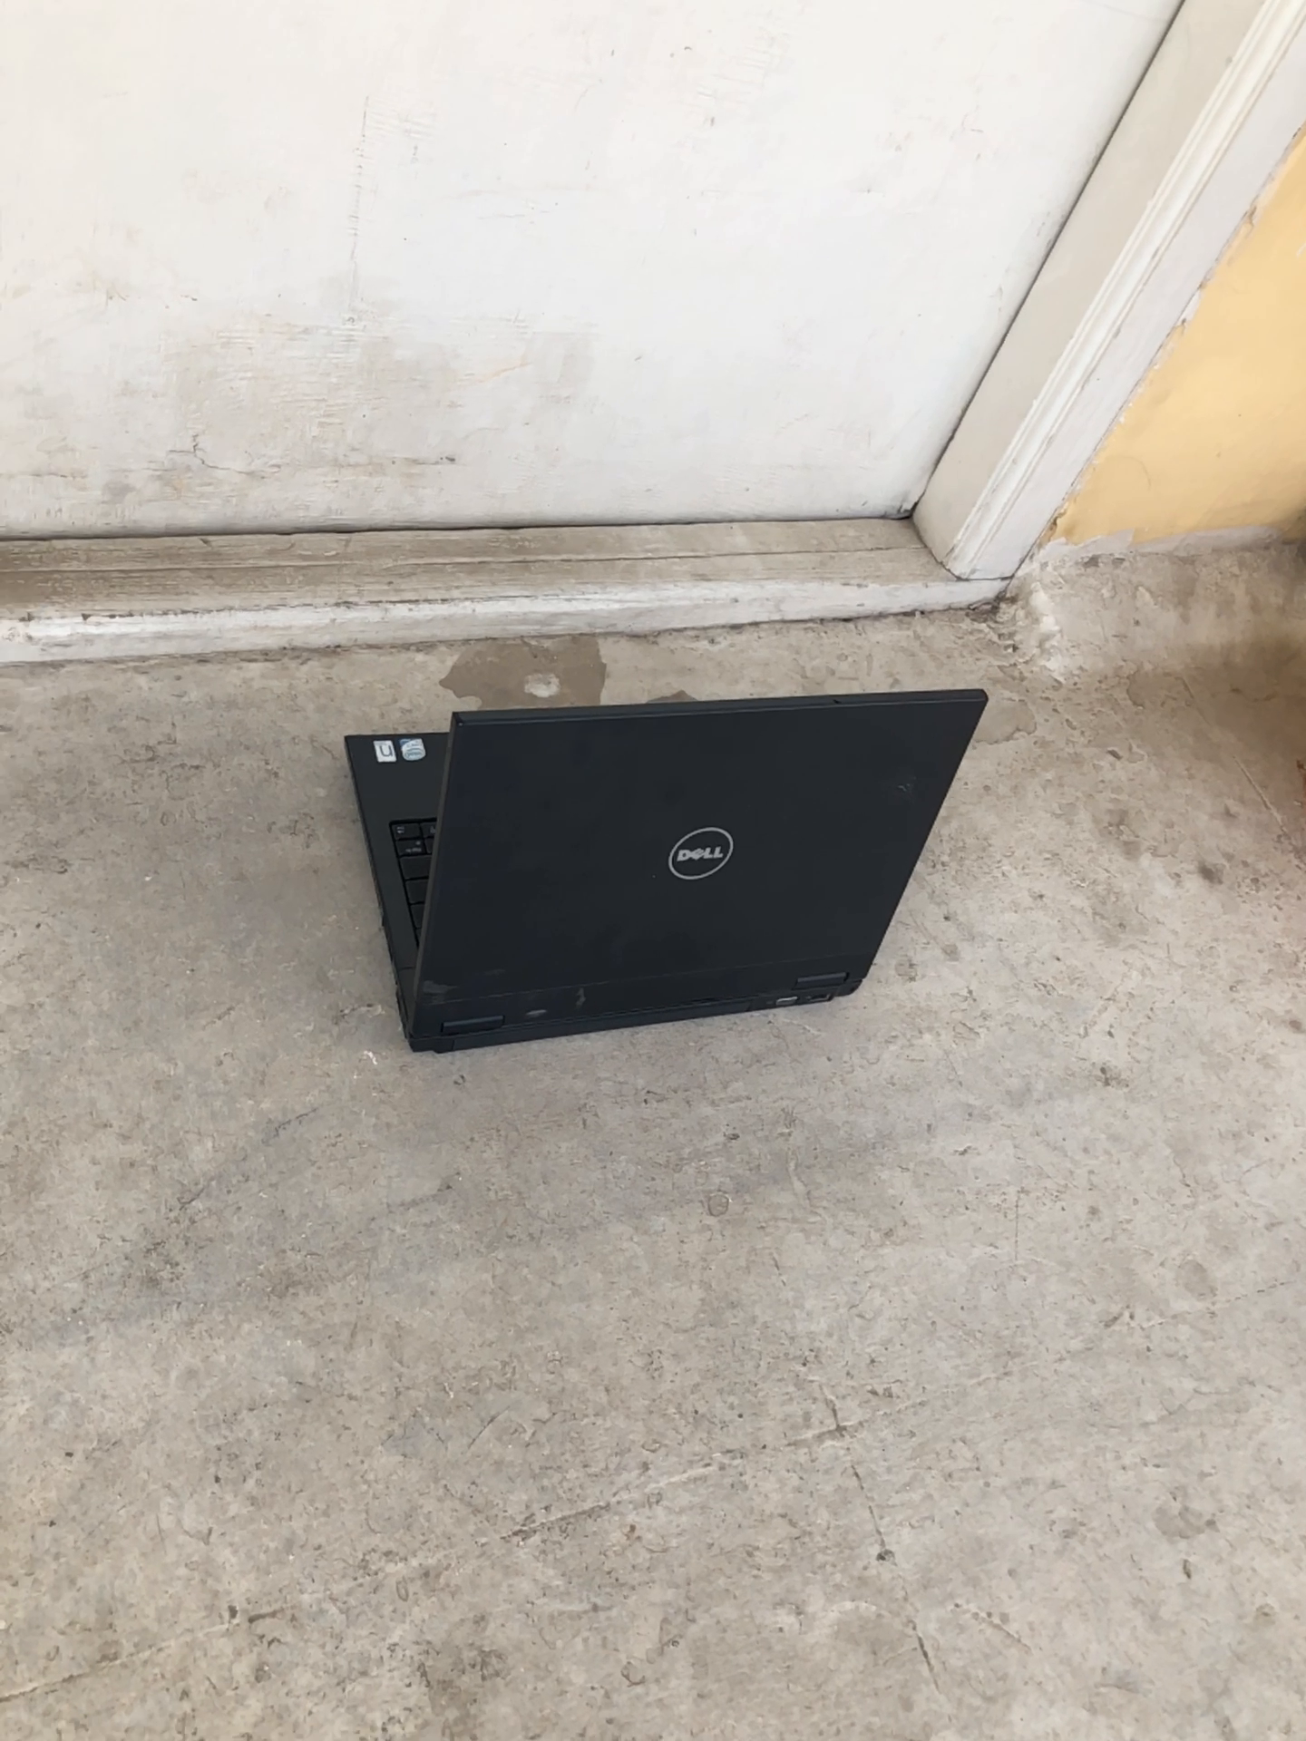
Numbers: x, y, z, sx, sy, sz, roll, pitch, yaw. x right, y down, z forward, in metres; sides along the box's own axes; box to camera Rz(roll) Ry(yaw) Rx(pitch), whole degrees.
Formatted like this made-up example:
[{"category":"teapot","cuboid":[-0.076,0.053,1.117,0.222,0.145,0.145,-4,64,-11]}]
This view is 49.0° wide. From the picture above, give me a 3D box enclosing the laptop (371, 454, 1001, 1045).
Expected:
[{"category":"laptop","cuboid":[-0.002,-0.074,0.875,0.279,0.251,0.225,-5,58,-21]}]
